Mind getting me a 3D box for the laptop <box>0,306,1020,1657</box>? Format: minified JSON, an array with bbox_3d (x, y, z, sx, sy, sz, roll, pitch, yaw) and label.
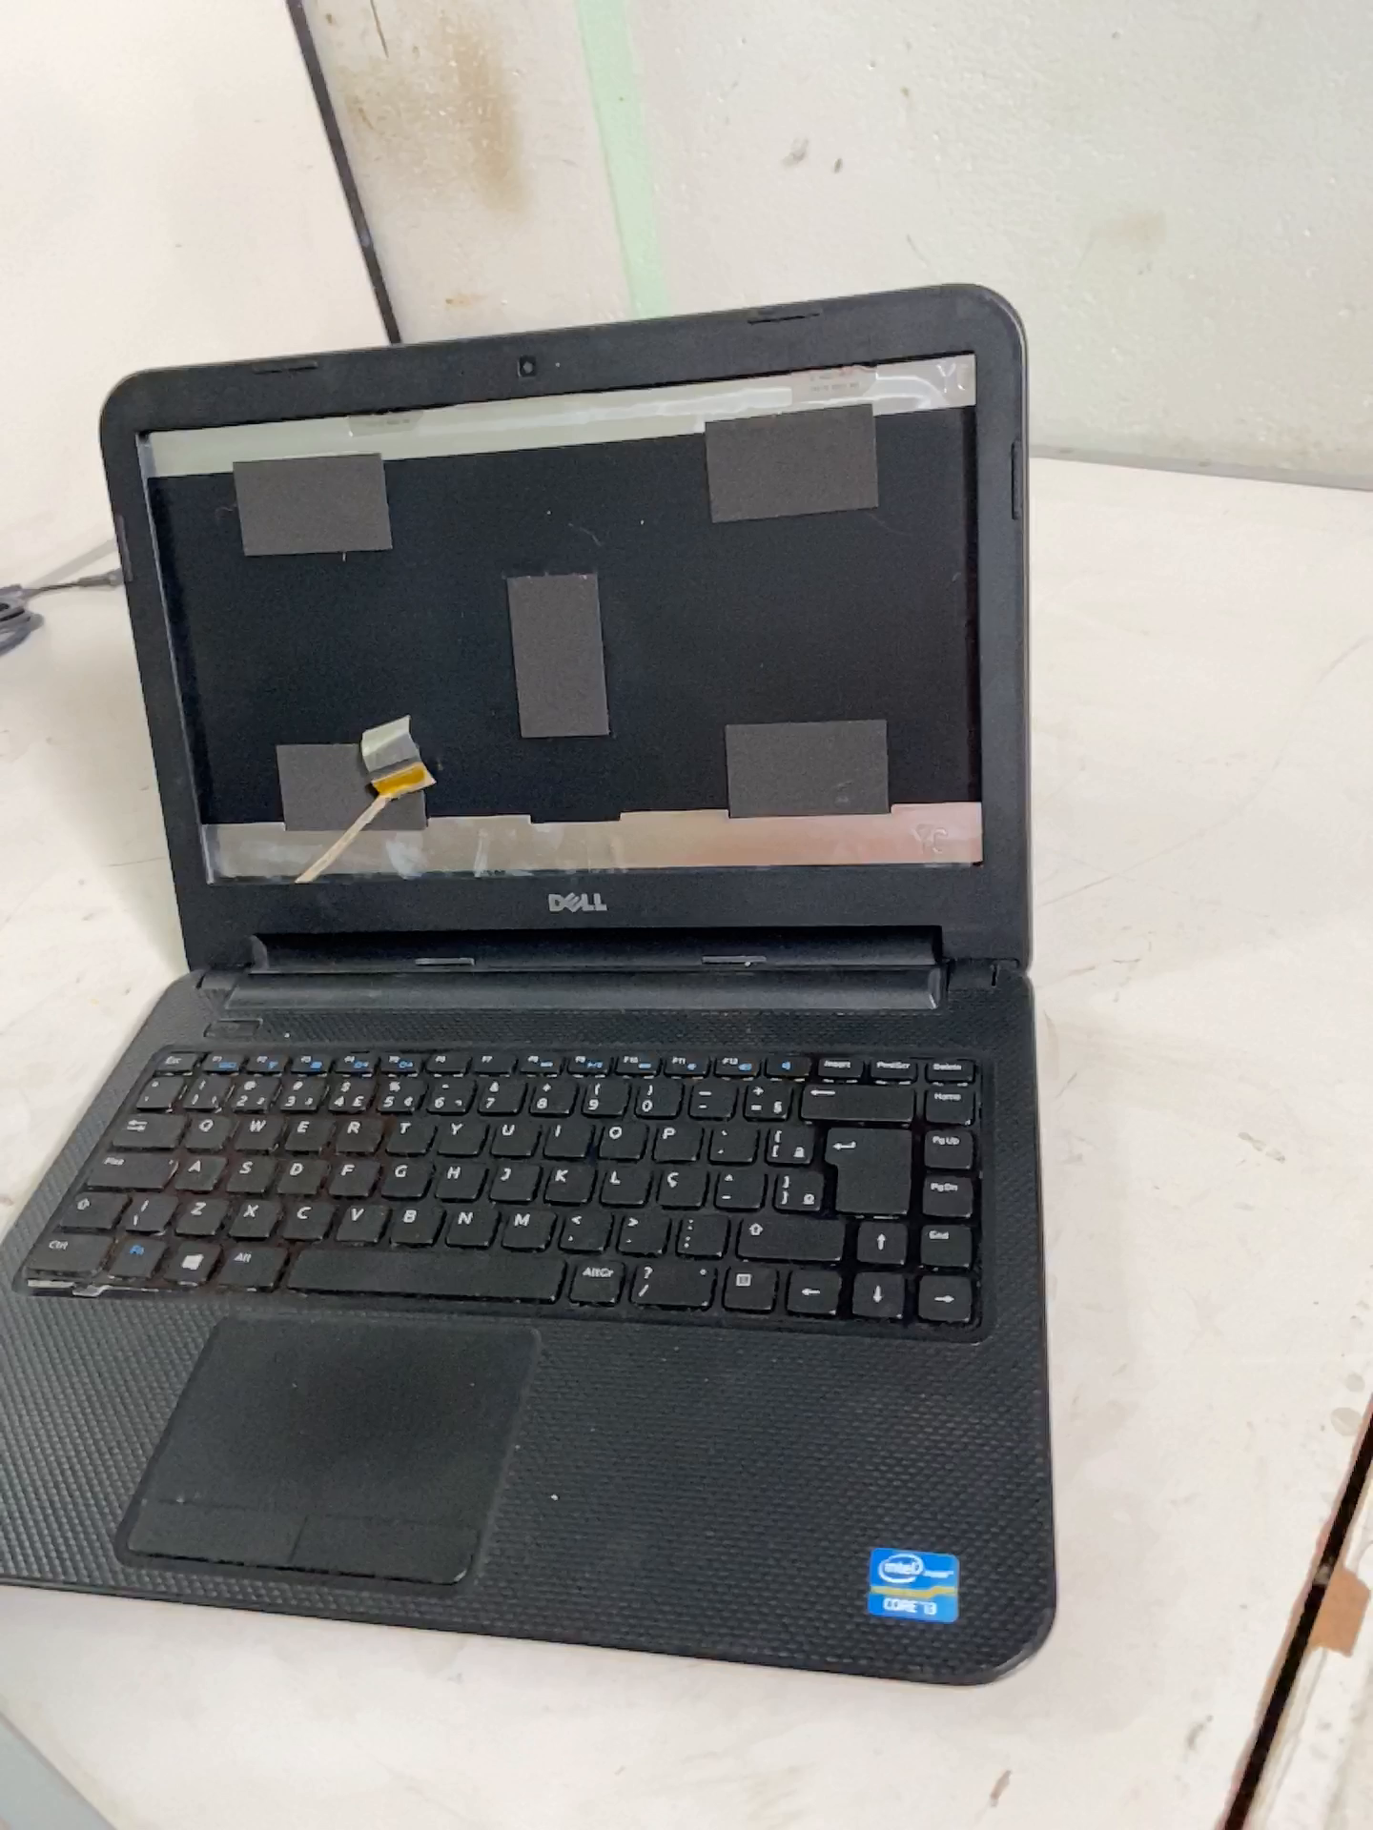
[{"bbox_3d":[-0.067,-0.010,0.421,0.320,0.193,0.337,-1,40,13],"label":"laptop"}]
